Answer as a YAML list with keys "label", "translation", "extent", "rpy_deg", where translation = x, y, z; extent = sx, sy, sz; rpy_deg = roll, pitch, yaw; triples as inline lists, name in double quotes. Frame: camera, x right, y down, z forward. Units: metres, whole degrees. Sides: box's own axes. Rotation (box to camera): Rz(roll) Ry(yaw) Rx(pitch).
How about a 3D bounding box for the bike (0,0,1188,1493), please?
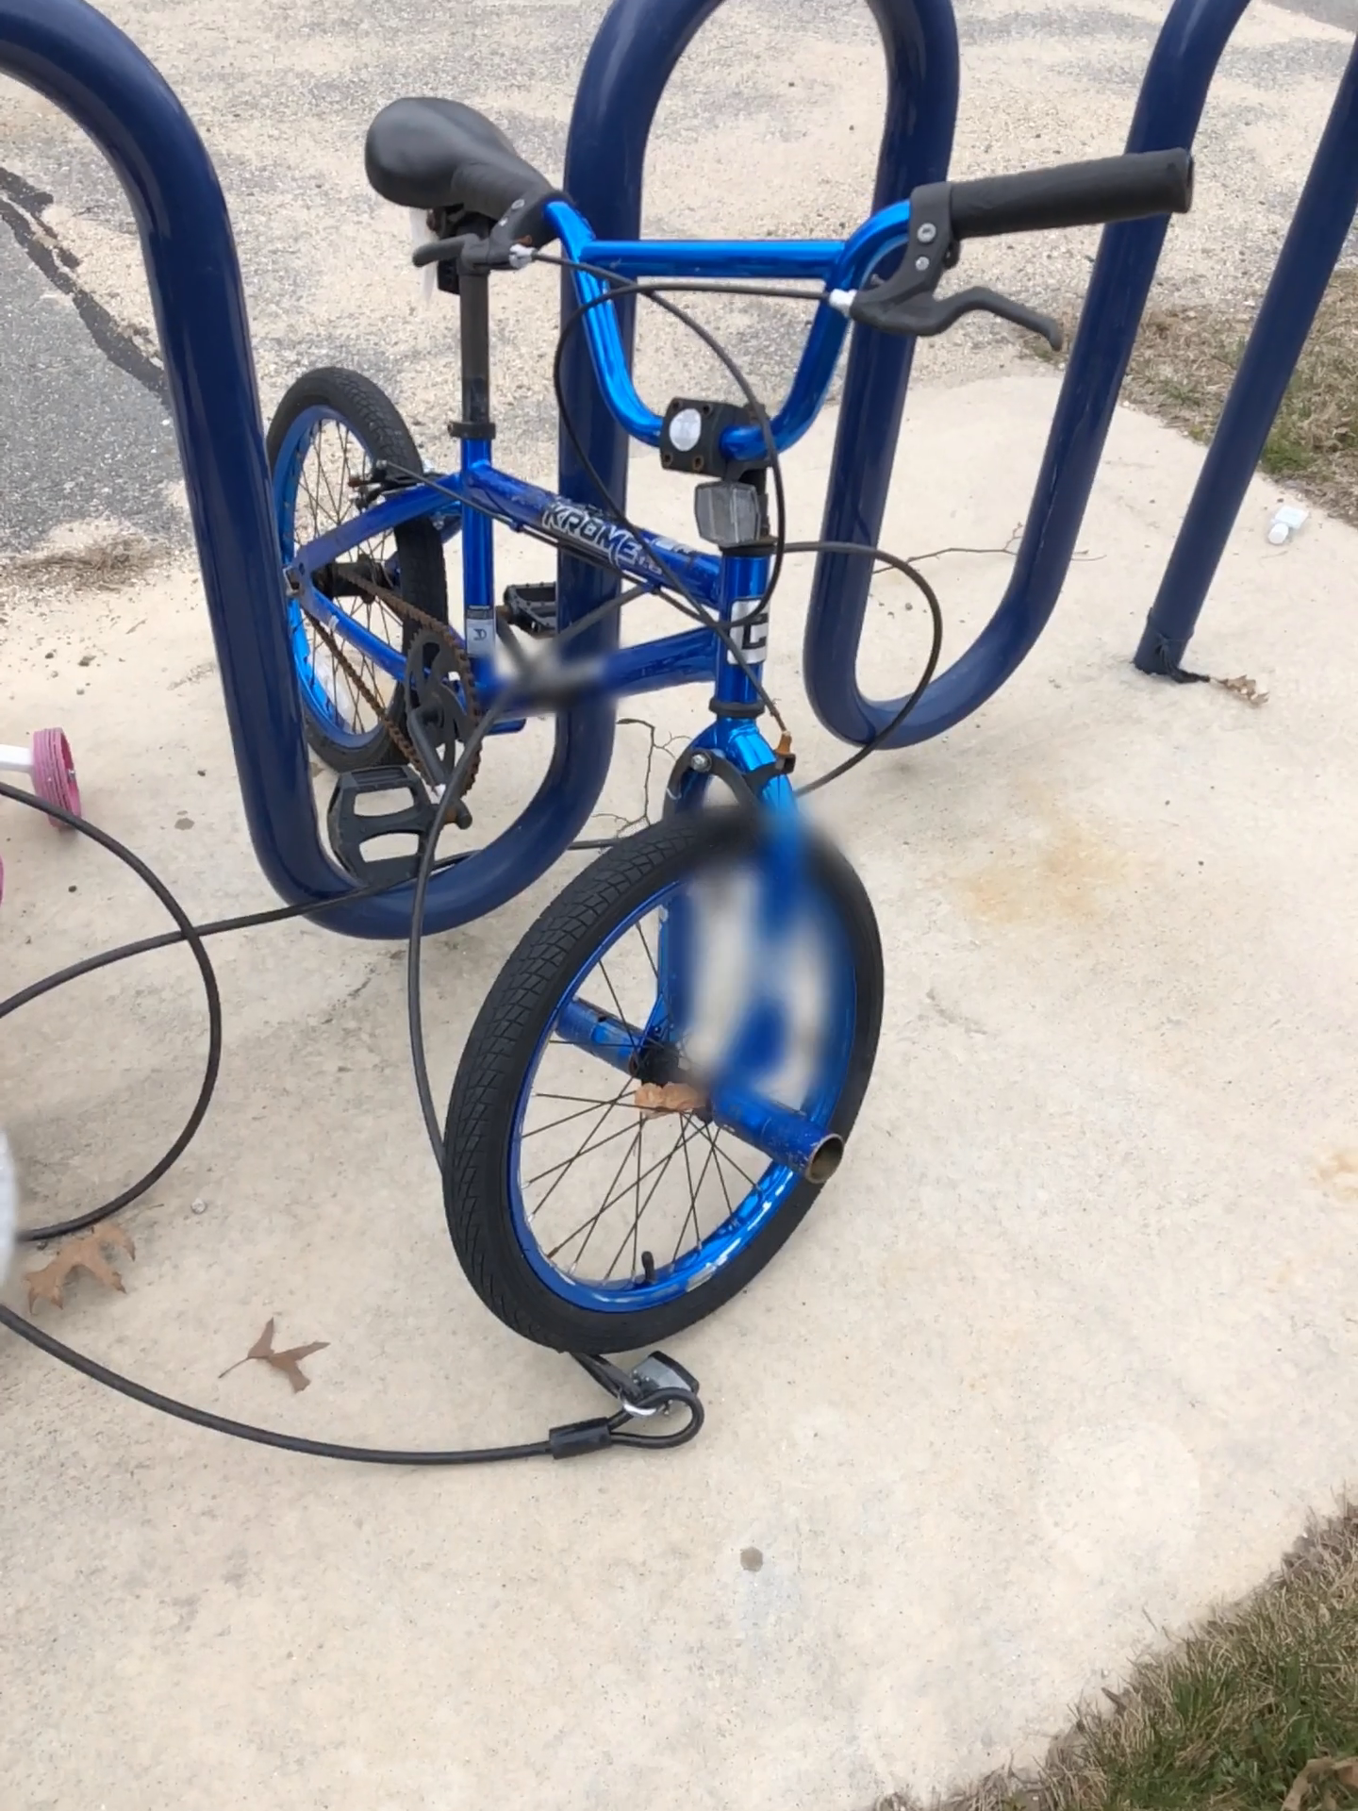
- label: "bike"
  translation: [-0.182, -0.306, 1.300]
  extent: [0.622, 0.840, 1.034]
  rpy_deg: [-12, 43, -17]
